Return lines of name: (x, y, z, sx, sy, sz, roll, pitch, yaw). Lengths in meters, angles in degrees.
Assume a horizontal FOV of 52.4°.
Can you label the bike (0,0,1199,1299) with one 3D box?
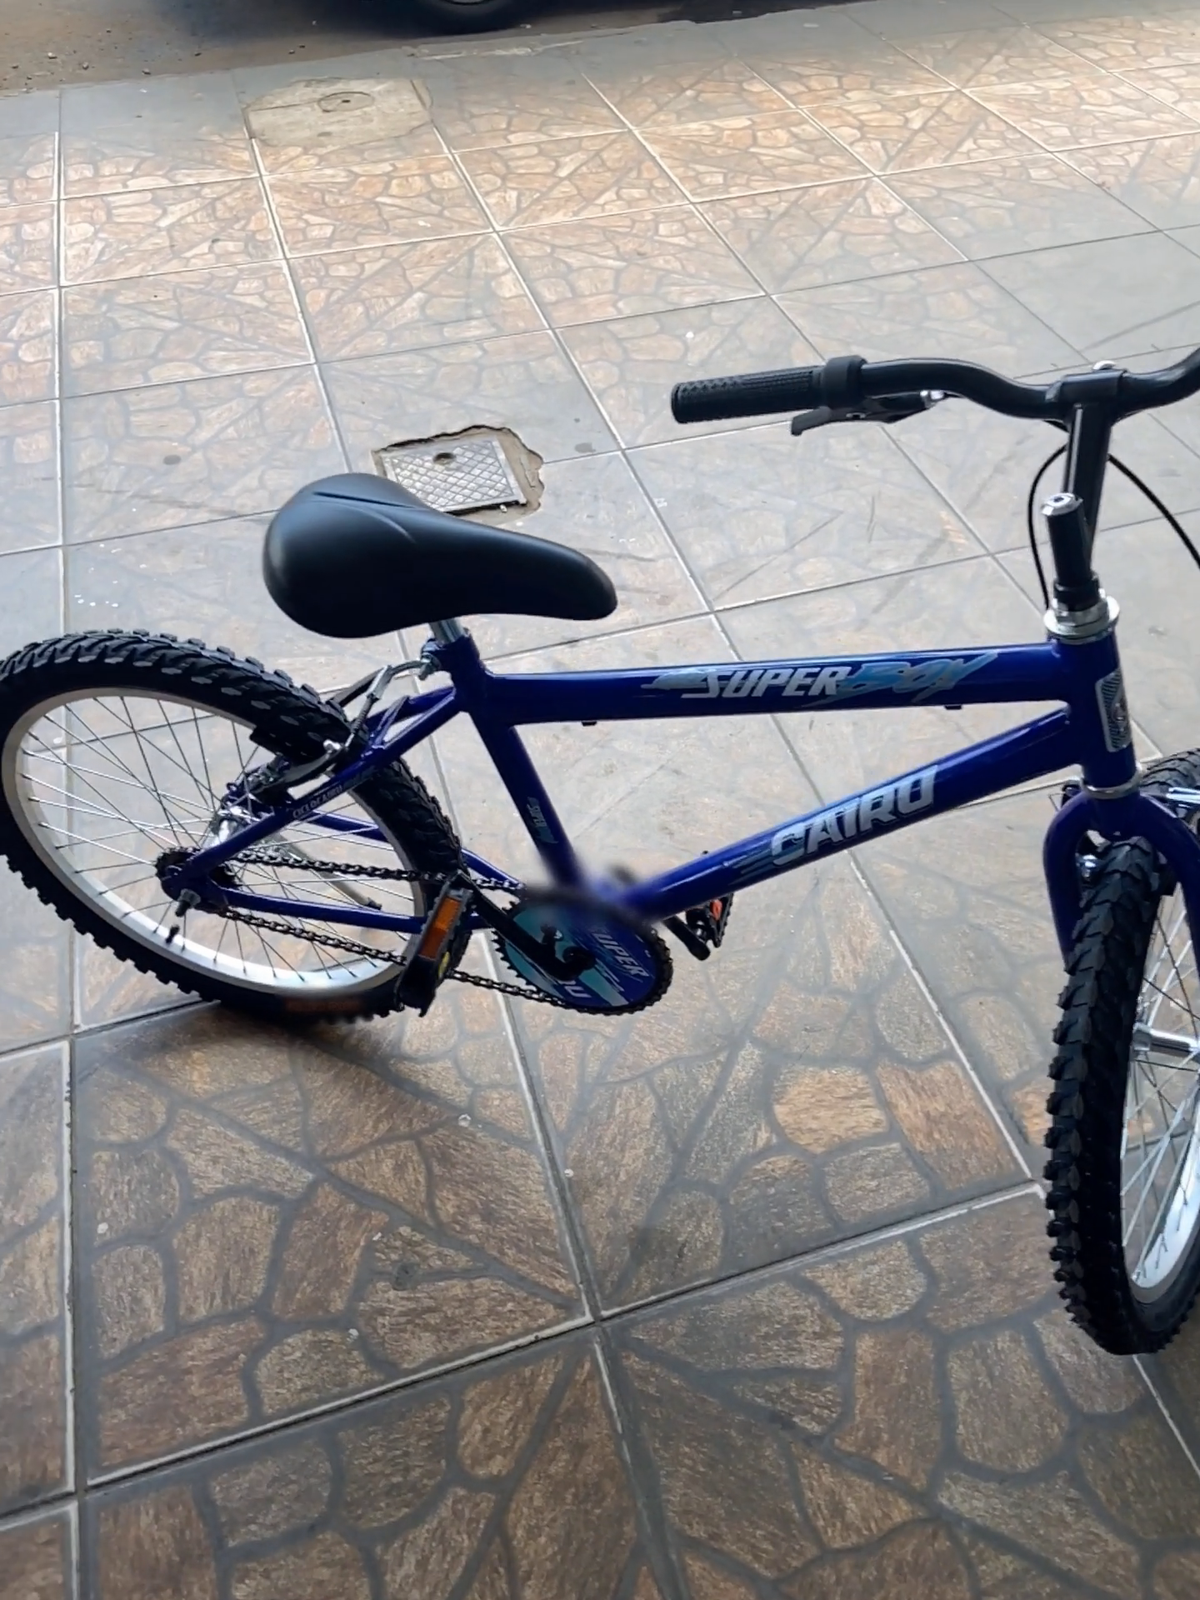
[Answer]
bike: (-0.044, -0.087, 0.955, 1.181, 0.950, 0.546, 3, 50, 6)
